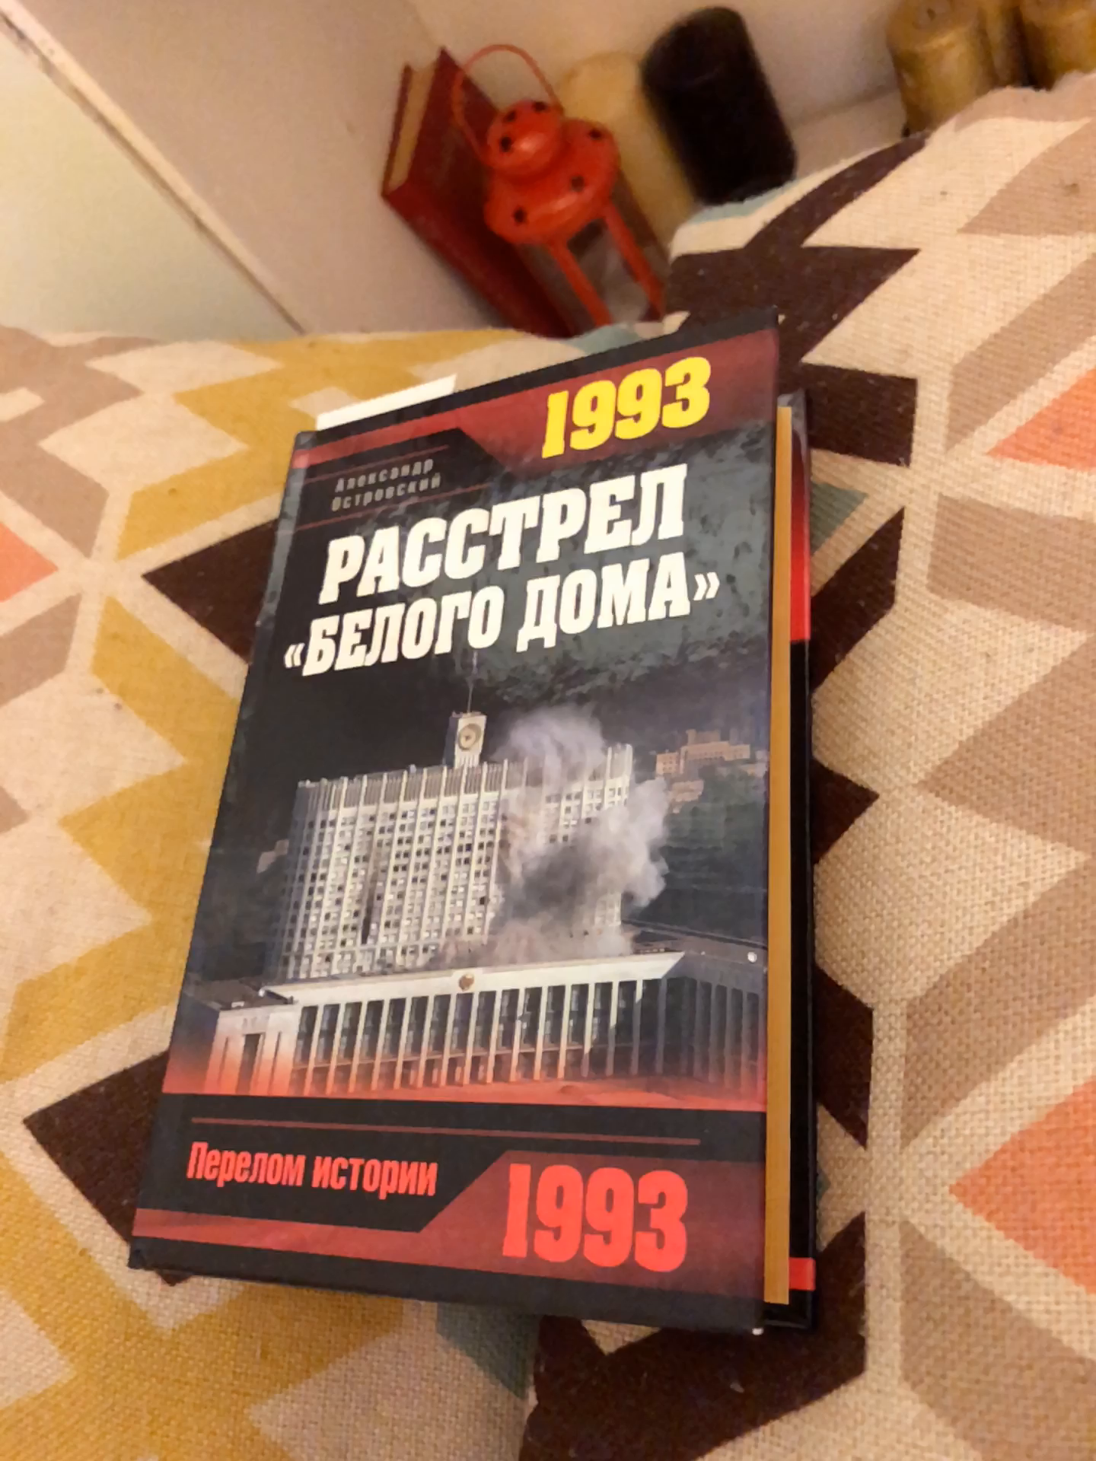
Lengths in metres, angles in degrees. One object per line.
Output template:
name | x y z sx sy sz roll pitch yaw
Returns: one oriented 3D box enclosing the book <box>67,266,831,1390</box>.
book | -0.016 0.012 0.258 0.140 0.030 0.211 -9 62 27
